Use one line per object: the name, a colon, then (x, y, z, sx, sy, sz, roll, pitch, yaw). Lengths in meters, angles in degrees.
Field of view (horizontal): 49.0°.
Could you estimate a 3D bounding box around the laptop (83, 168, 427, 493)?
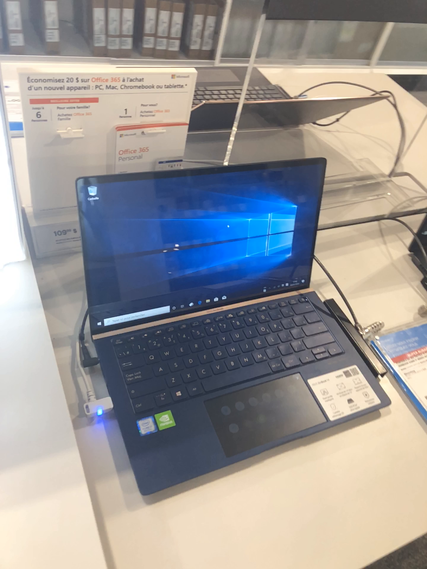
laptop: (0.042, 0.024, 0.518, 0.309, 0.179, 0.253, -11, 49, -24)
